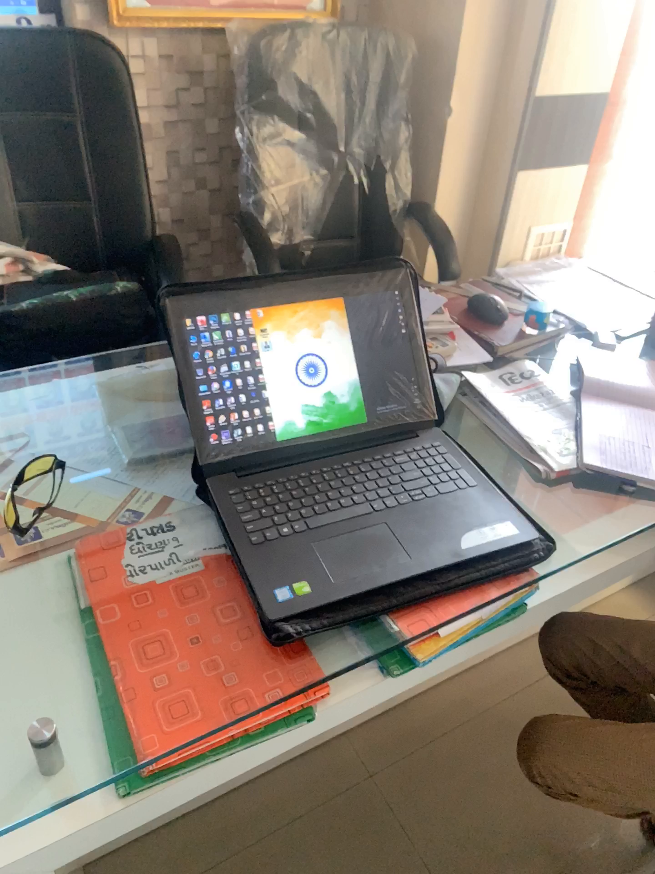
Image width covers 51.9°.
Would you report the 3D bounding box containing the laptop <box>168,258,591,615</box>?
[{"bbox_3d":[0.025,-0.039,0.807,0.334,0.175,0.392,-11,40,-20],"label":"laptop"}]
